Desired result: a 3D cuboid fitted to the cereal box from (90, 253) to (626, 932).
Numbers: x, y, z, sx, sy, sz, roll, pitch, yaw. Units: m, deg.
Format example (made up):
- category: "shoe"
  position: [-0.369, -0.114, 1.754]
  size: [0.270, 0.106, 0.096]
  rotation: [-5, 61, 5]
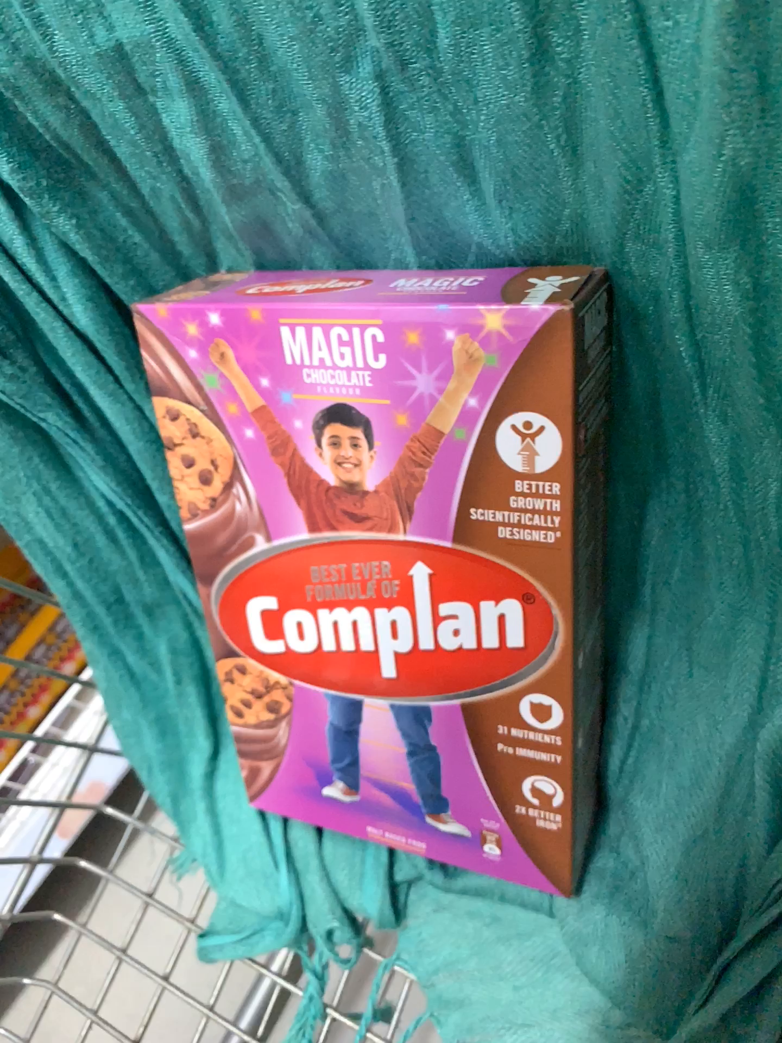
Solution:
- category: "cereal box"
  position: [-0.005, 0.025, 0.294]
  size: [0.160, 0.220, 0.050]
  rotation: [6, 26, 25]
